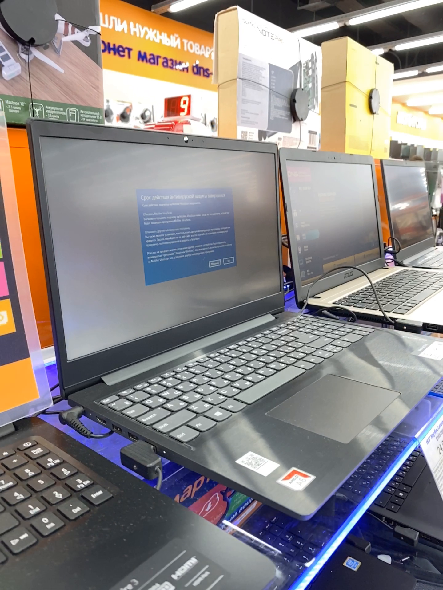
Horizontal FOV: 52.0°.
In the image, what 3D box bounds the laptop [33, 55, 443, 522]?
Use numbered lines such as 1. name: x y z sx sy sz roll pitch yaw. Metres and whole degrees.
1. laptop: 0.064 -0.043 0.449 0.273 0.240 0.361 10 17 40
